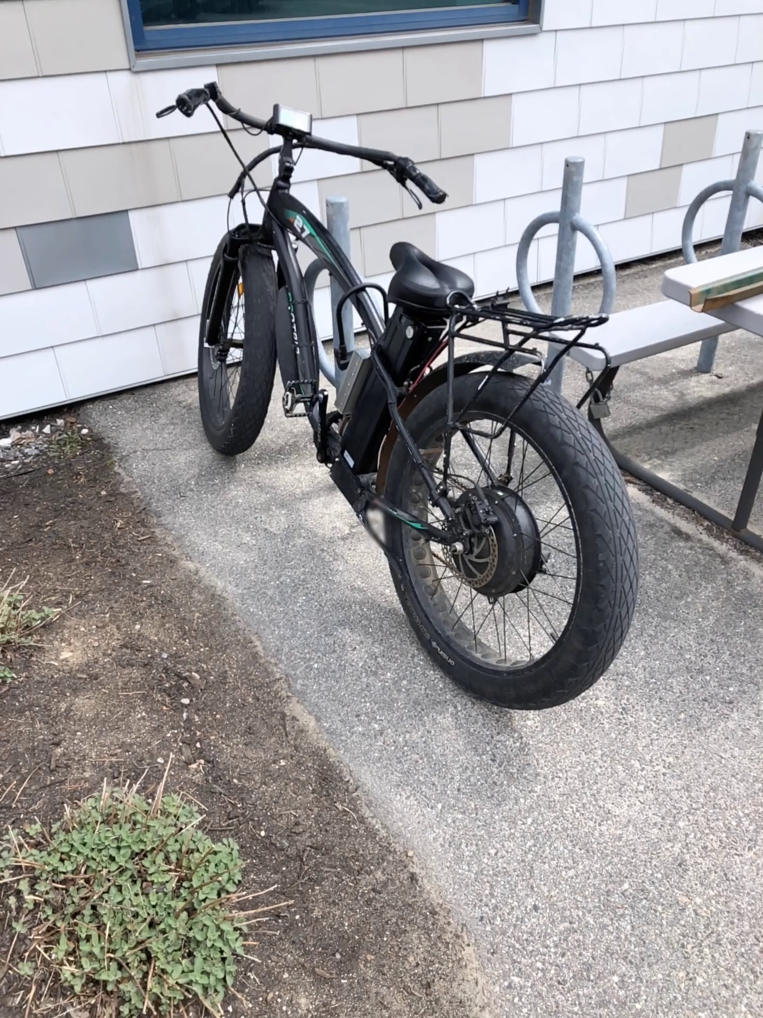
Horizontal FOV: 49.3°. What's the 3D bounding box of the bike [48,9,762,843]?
[{"bbox_3d":[0.007,-0.458,2.103,0.913,1.132,1.866,-21,42,-25],"label":"bike"}]
